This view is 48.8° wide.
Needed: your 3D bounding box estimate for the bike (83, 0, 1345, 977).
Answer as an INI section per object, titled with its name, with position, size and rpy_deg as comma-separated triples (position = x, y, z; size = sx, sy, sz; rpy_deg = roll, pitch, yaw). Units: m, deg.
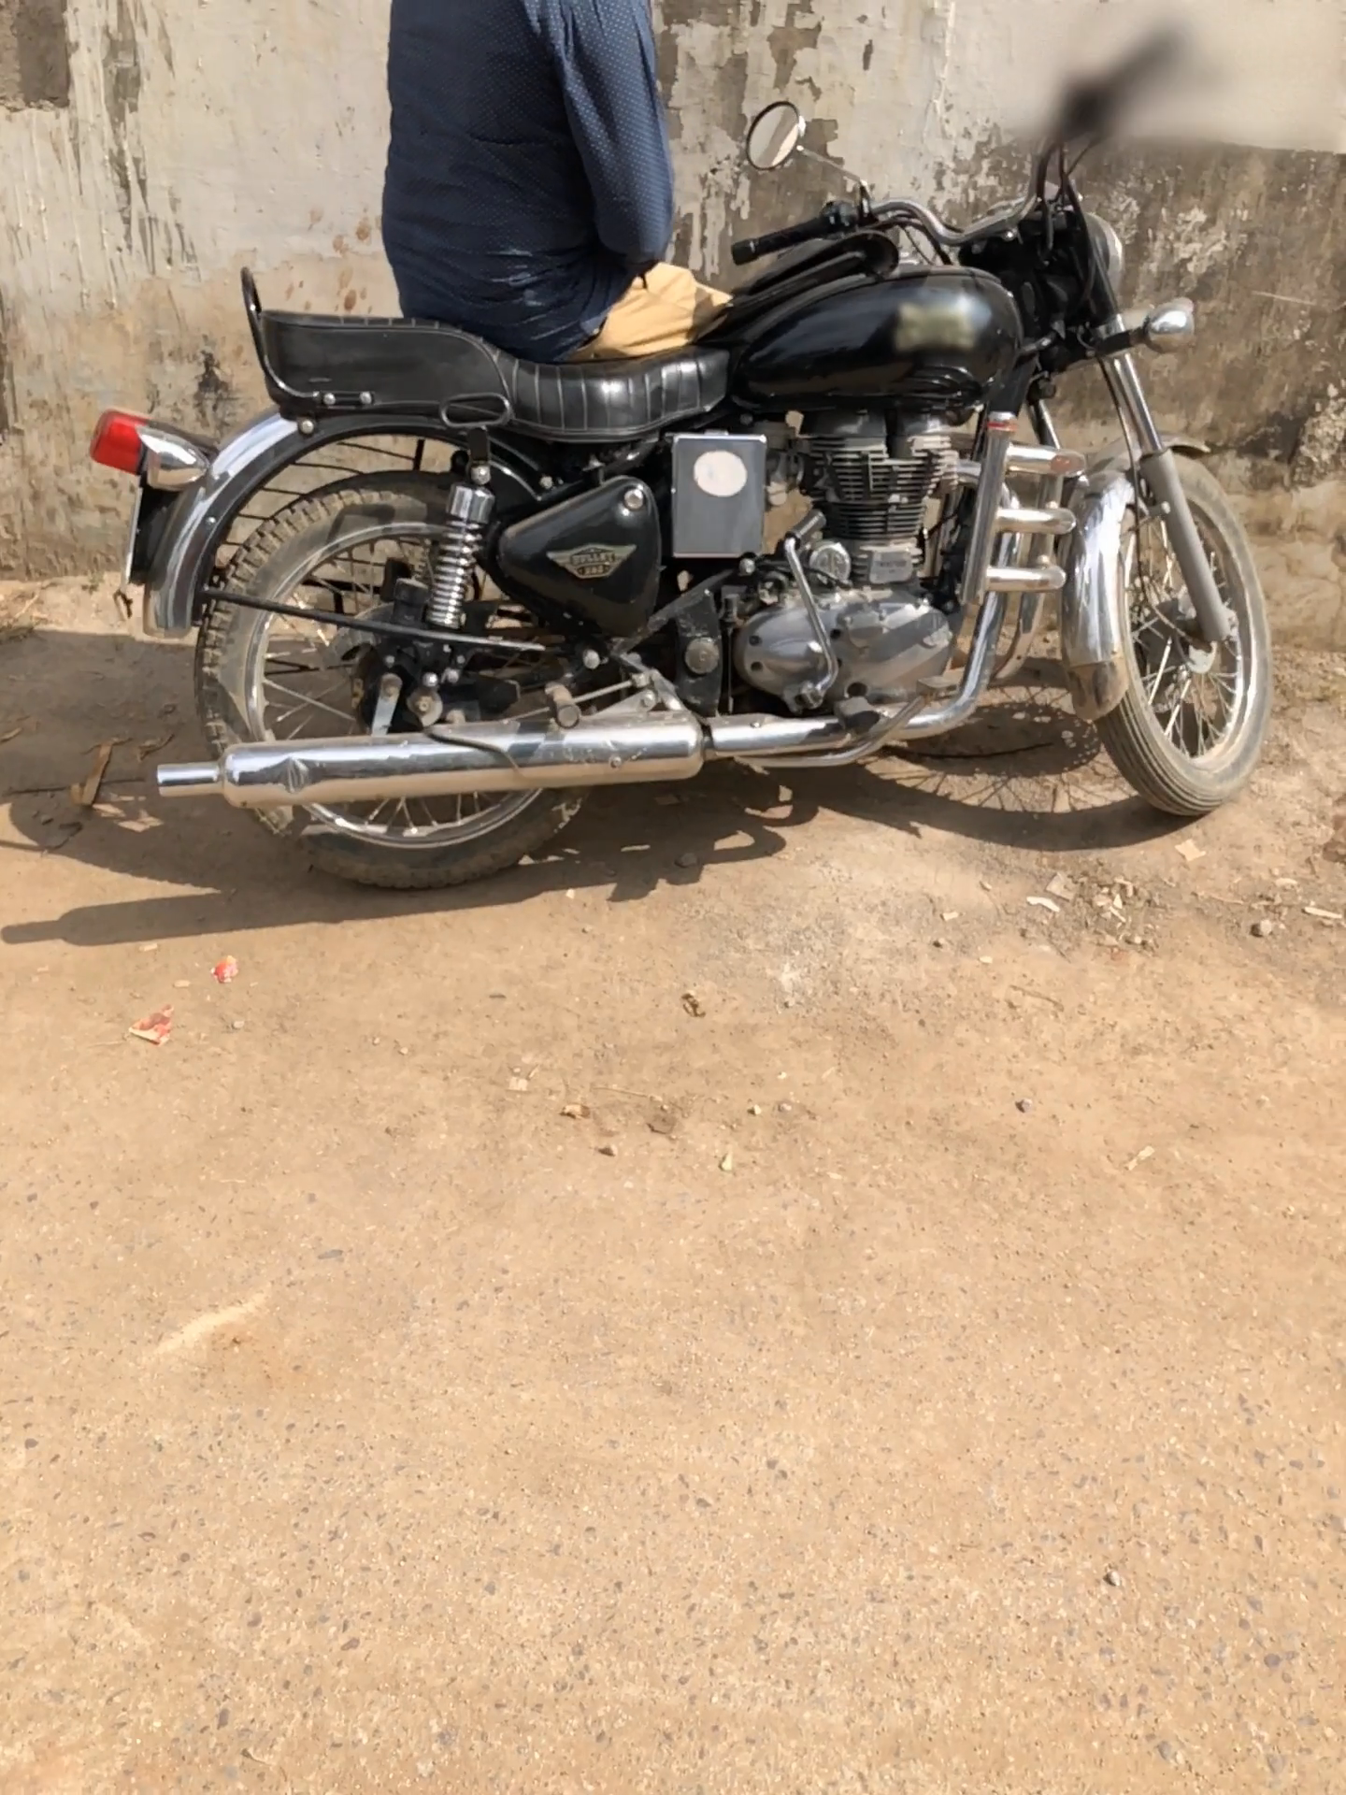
[bike]
position = 0.157, -0.846, 2.504
size = 1.935, 1.316, 0.885
rpy_deg = -9, 36, -16
